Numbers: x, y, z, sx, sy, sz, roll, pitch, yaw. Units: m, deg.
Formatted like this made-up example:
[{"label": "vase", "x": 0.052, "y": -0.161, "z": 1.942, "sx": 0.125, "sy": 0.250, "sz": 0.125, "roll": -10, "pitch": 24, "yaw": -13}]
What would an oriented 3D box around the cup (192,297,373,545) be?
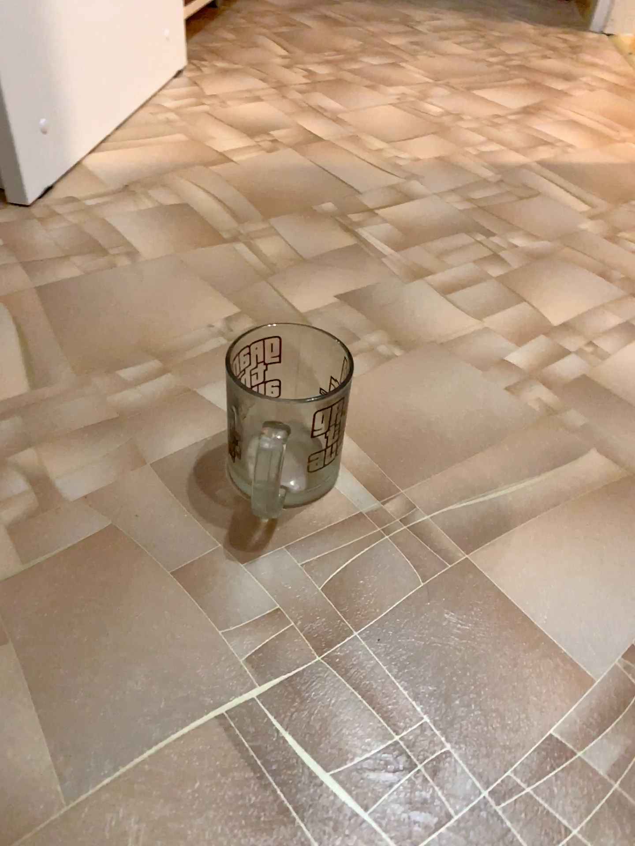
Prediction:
[{"label": "cup", "x": -0.019, "y": -0.002, "z": 0.391, "sx": 0.081, "sy": 0.097, "sz": 0.098, "roll": 10, "pitch": 44, "yaw": 4}]
